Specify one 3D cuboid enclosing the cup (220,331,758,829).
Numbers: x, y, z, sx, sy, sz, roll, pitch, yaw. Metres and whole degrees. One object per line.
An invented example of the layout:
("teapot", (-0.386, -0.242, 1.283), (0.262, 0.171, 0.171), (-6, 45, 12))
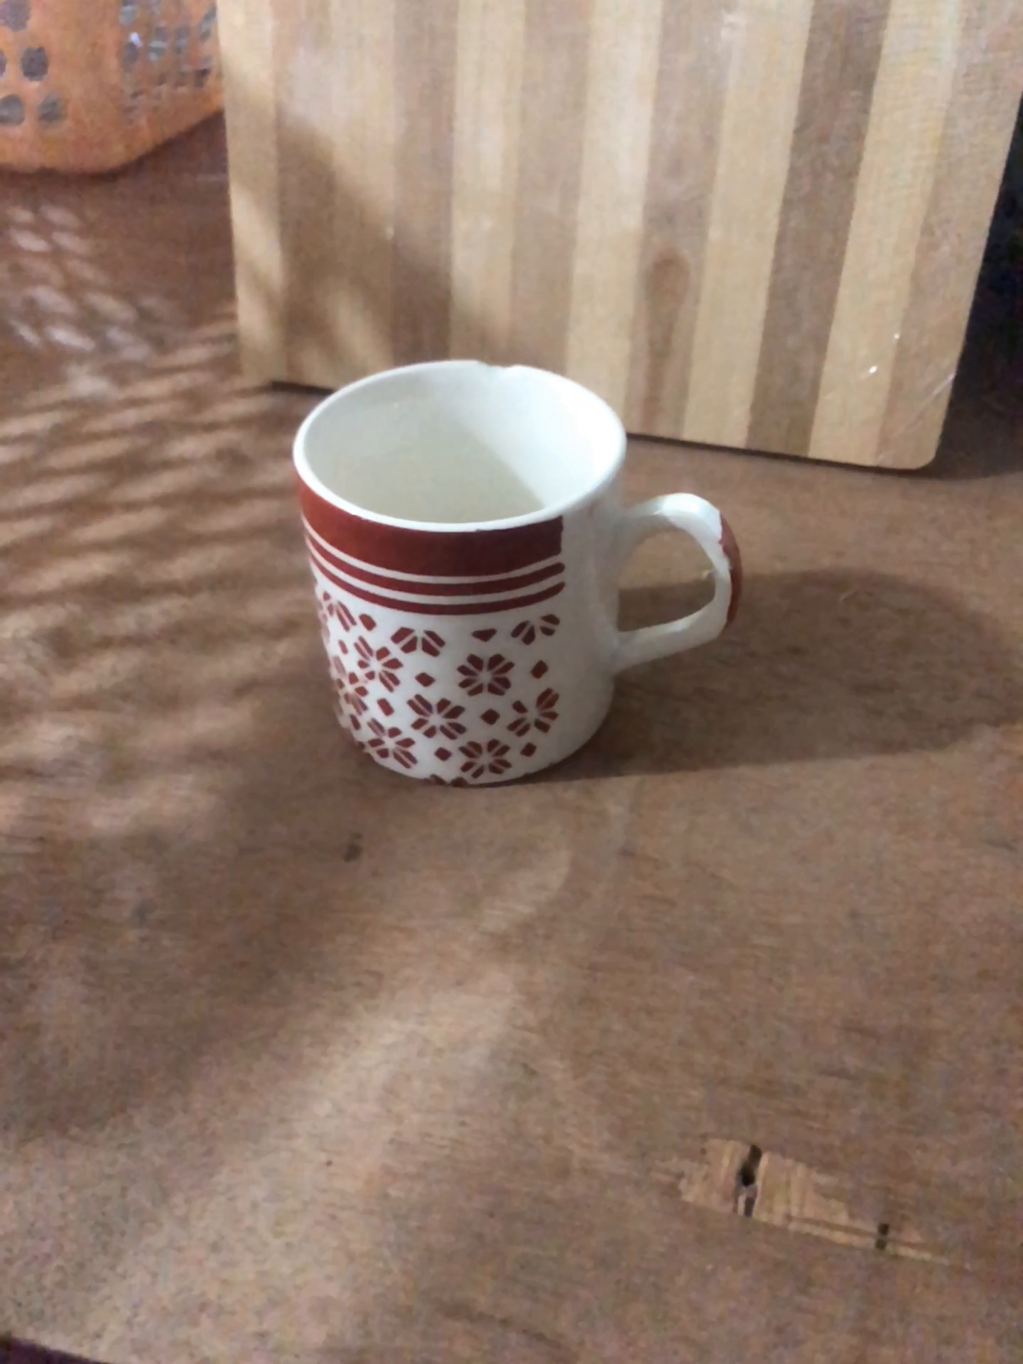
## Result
("cup", (0.001, -0.023, 0.238), (0.090, 0.070, 0.070), (4, 42, 8))
